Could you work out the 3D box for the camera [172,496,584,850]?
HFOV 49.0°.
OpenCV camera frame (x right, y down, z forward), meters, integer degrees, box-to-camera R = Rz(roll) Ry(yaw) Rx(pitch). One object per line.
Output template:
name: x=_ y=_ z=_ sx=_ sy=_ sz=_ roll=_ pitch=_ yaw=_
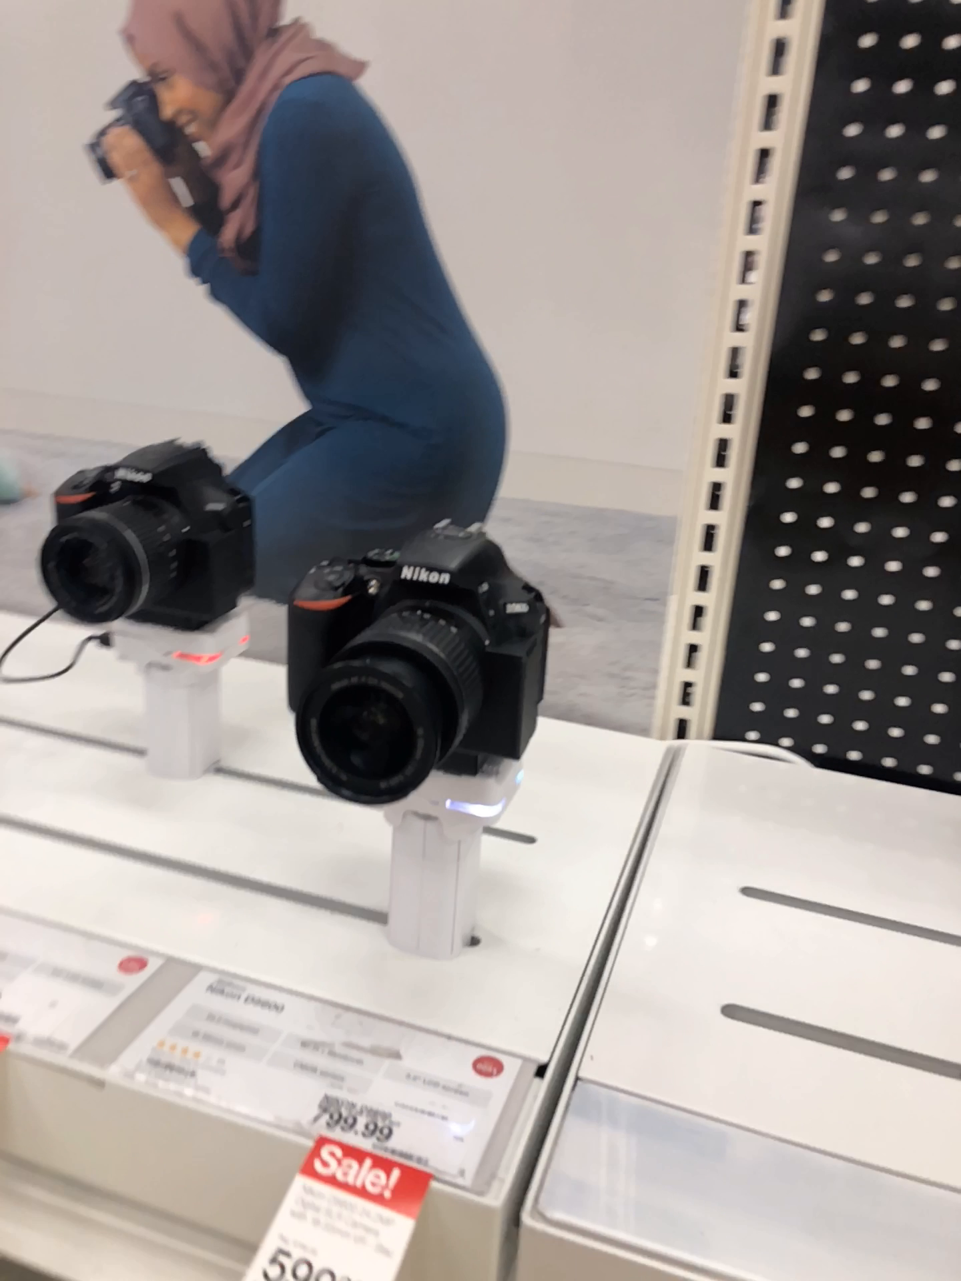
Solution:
camera: x=-0.037 y=0.002 z=0.488 sx=0.130 sy=0.090 sz=0.171 roll=9 pitch=21 yaw=14
